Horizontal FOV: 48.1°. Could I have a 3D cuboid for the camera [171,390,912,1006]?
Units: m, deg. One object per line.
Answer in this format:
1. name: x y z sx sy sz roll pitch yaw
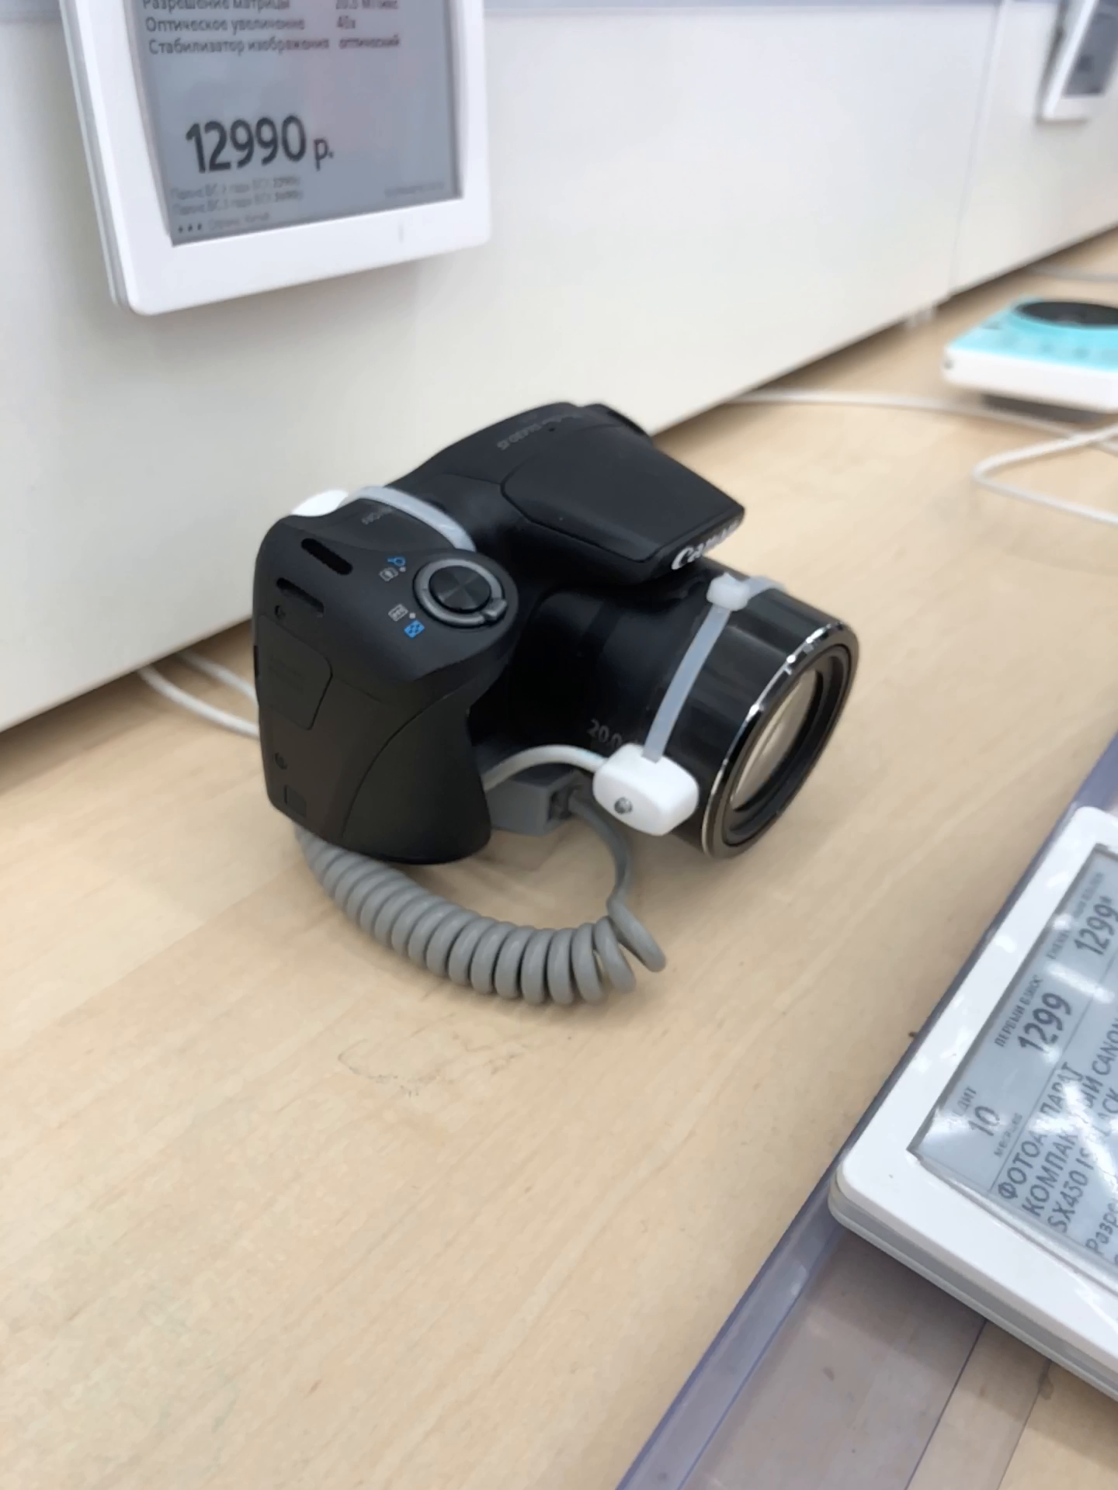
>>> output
1. camera: 0.003 -0.022 0.255 0.093 0.062 0.117 18 35 28
